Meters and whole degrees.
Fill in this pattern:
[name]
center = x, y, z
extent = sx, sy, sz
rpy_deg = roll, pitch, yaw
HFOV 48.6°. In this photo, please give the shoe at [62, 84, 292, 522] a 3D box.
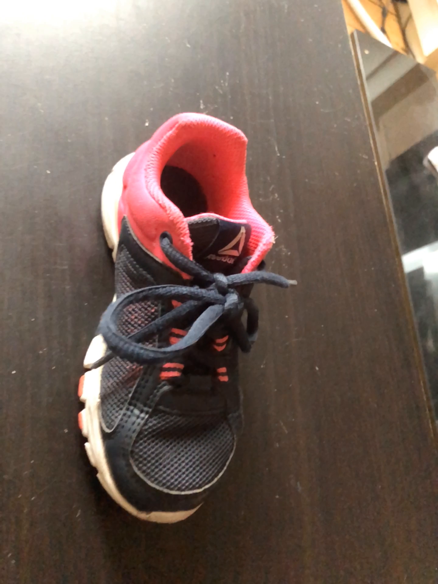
[shoe]
center = -0.025, 0.006, 0.250
extent = 0.080, 0.070, 0.193
rpy_deg = 9, 67, -29
